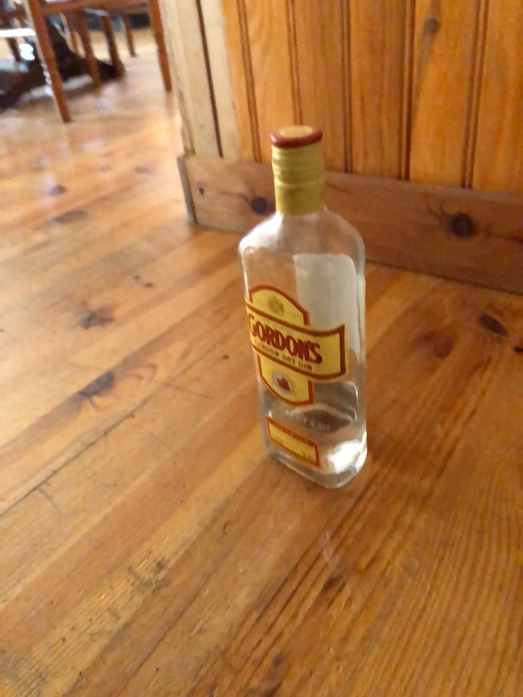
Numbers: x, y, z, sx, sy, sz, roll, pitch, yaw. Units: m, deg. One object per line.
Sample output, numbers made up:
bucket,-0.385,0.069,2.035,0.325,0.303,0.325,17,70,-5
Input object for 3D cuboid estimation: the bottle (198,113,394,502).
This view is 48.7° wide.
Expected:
bottle,0.031,-0.019,0.382,0.060,0.239,0.090,-34,42,-32
